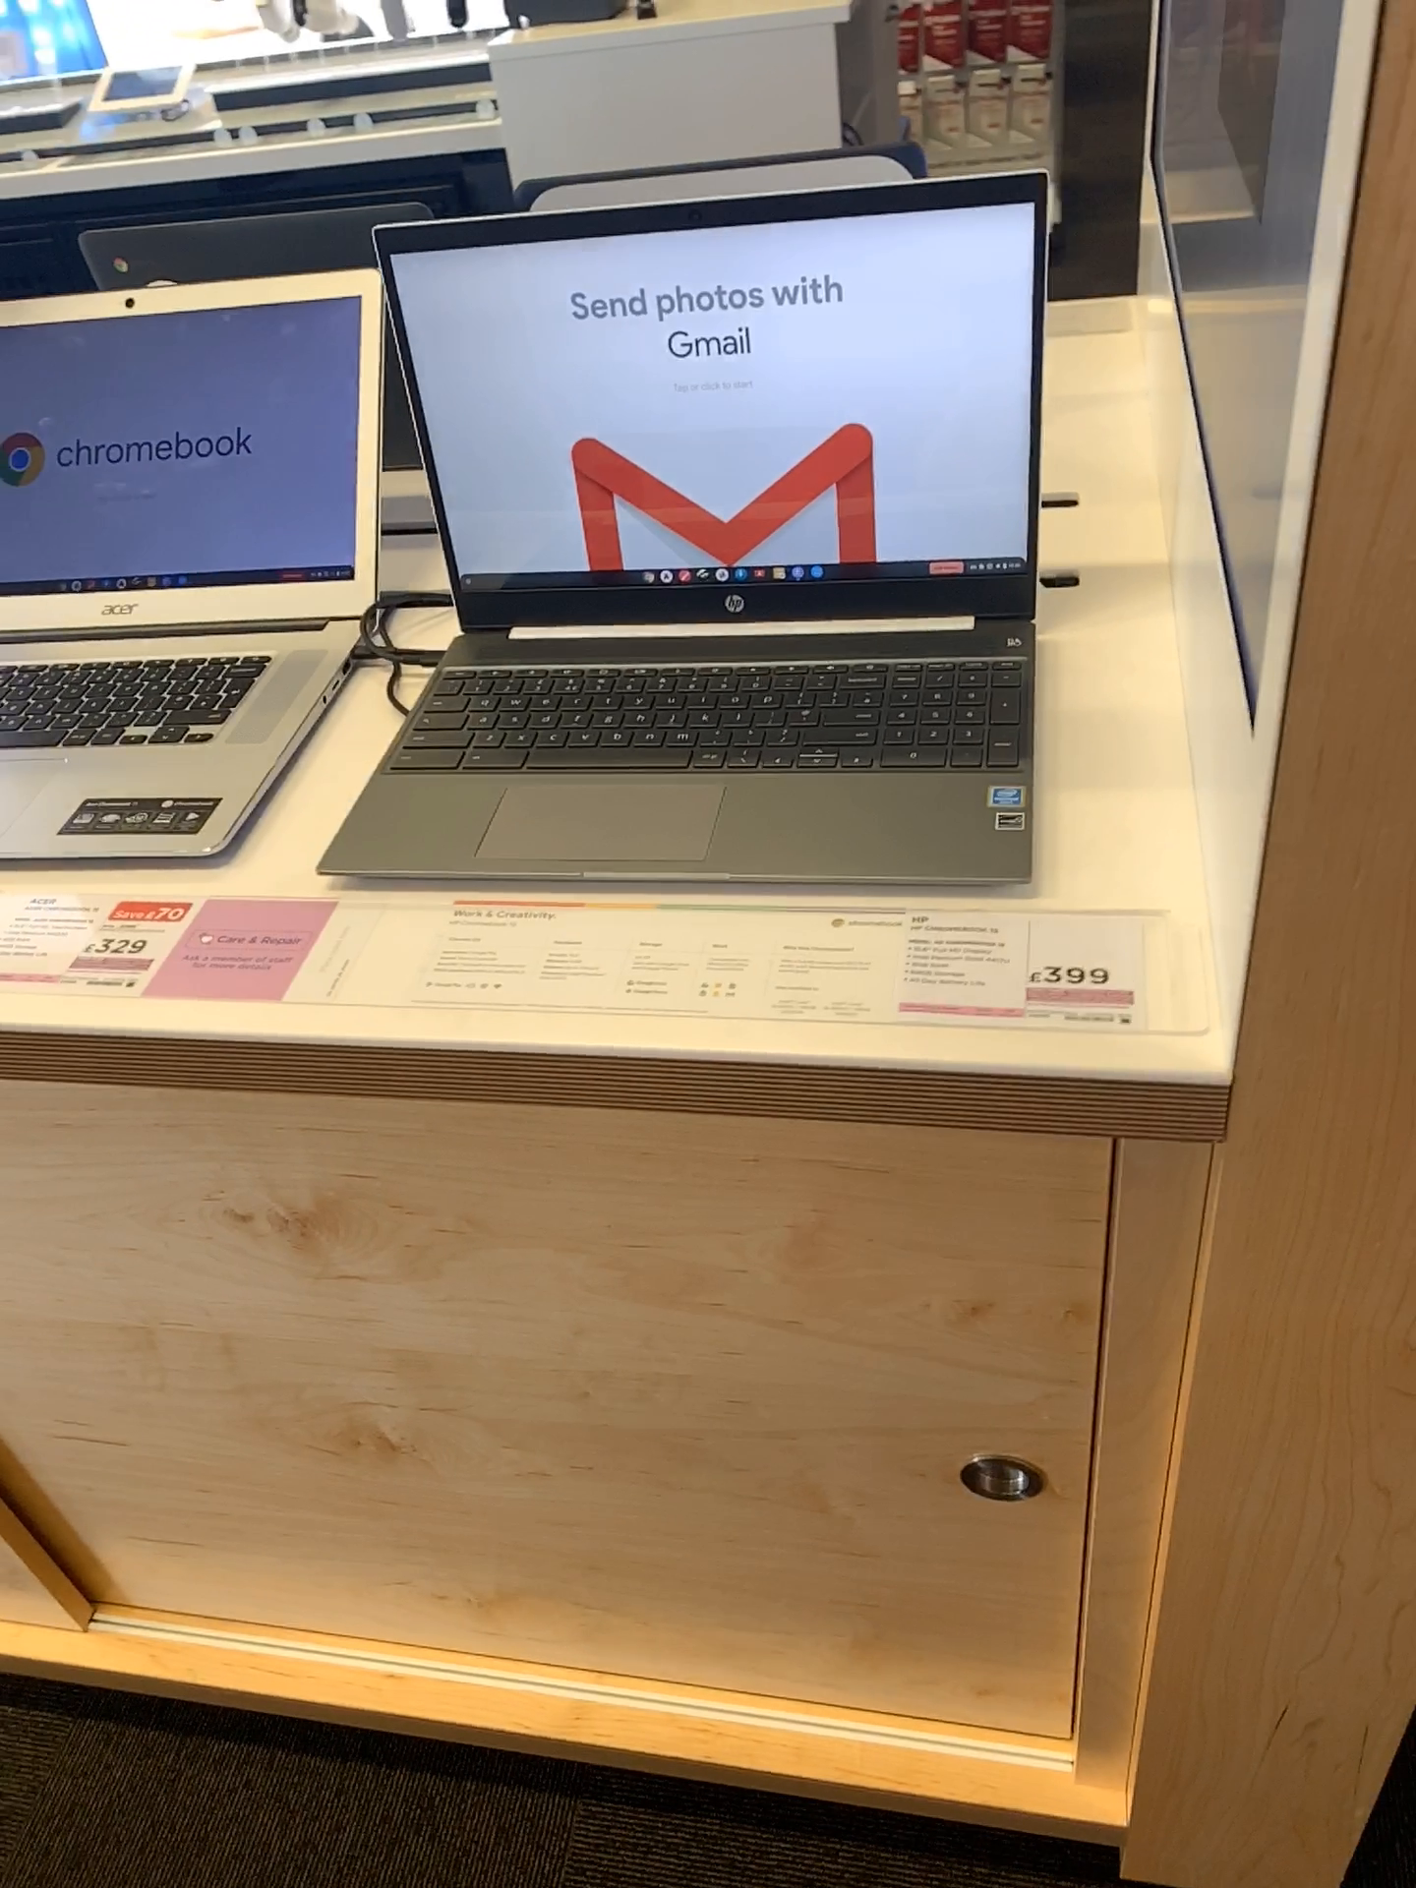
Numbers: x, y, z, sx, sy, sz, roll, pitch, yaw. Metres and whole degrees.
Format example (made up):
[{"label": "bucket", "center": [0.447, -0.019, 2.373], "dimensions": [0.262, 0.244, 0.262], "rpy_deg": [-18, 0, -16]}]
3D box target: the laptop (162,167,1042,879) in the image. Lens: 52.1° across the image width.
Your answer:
[{"label": "laptop", "center": [-0.017, -0.209, 0.724], "dimensions": [0.351, 0.228, 0.265], "rpy_deg": [1, 41, 12]}]
